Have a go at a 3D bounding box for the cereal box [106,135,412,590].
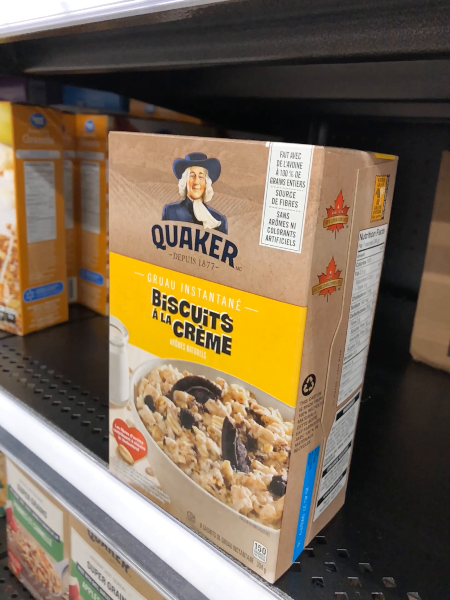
[{"bbox_3d":[0.008,0.018,0.265,0.120,0.189,0.080,17,21,37],"label":"cereal box"}]
